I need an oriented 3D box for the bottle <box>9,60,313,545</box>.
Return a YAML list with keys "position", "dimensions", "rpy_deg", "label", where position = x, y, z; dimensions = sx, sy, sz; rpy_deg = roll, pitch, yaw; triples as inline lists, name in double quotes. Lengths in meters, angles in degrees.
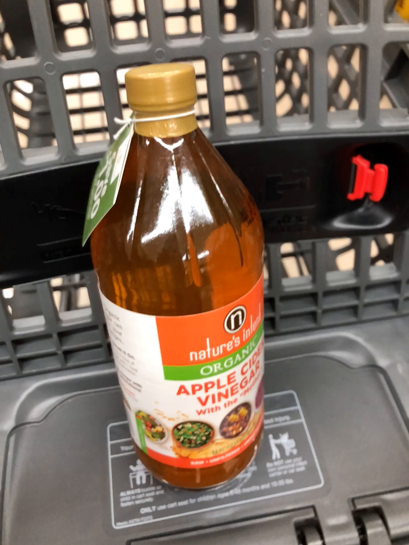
- position: [-0.012, 0.019, 0.259]
  dimensions: [0.100, 0.240, 0.090]
  rpy_deg: [-24, 34, -31]
  label: "bottle"
